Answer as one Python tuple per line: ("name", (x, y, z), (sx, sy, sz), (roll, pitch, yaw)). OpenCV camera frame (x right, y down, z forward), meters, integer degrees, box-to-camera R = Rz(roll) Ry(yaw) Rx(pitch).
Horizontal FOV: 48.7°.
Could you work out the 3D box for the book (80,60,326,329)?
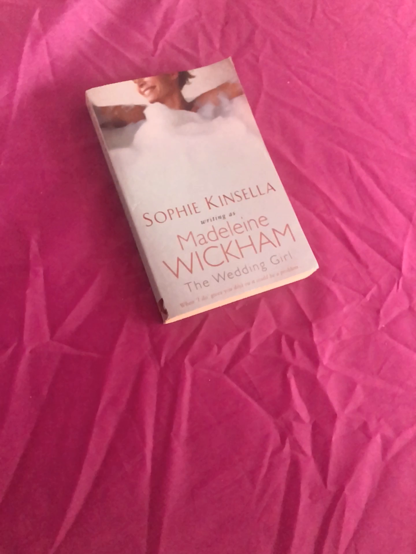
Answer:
("book", (-0.007, -0.076, 0.373), (0.135, 0.027, 0.202), (-17, 77, -17))
